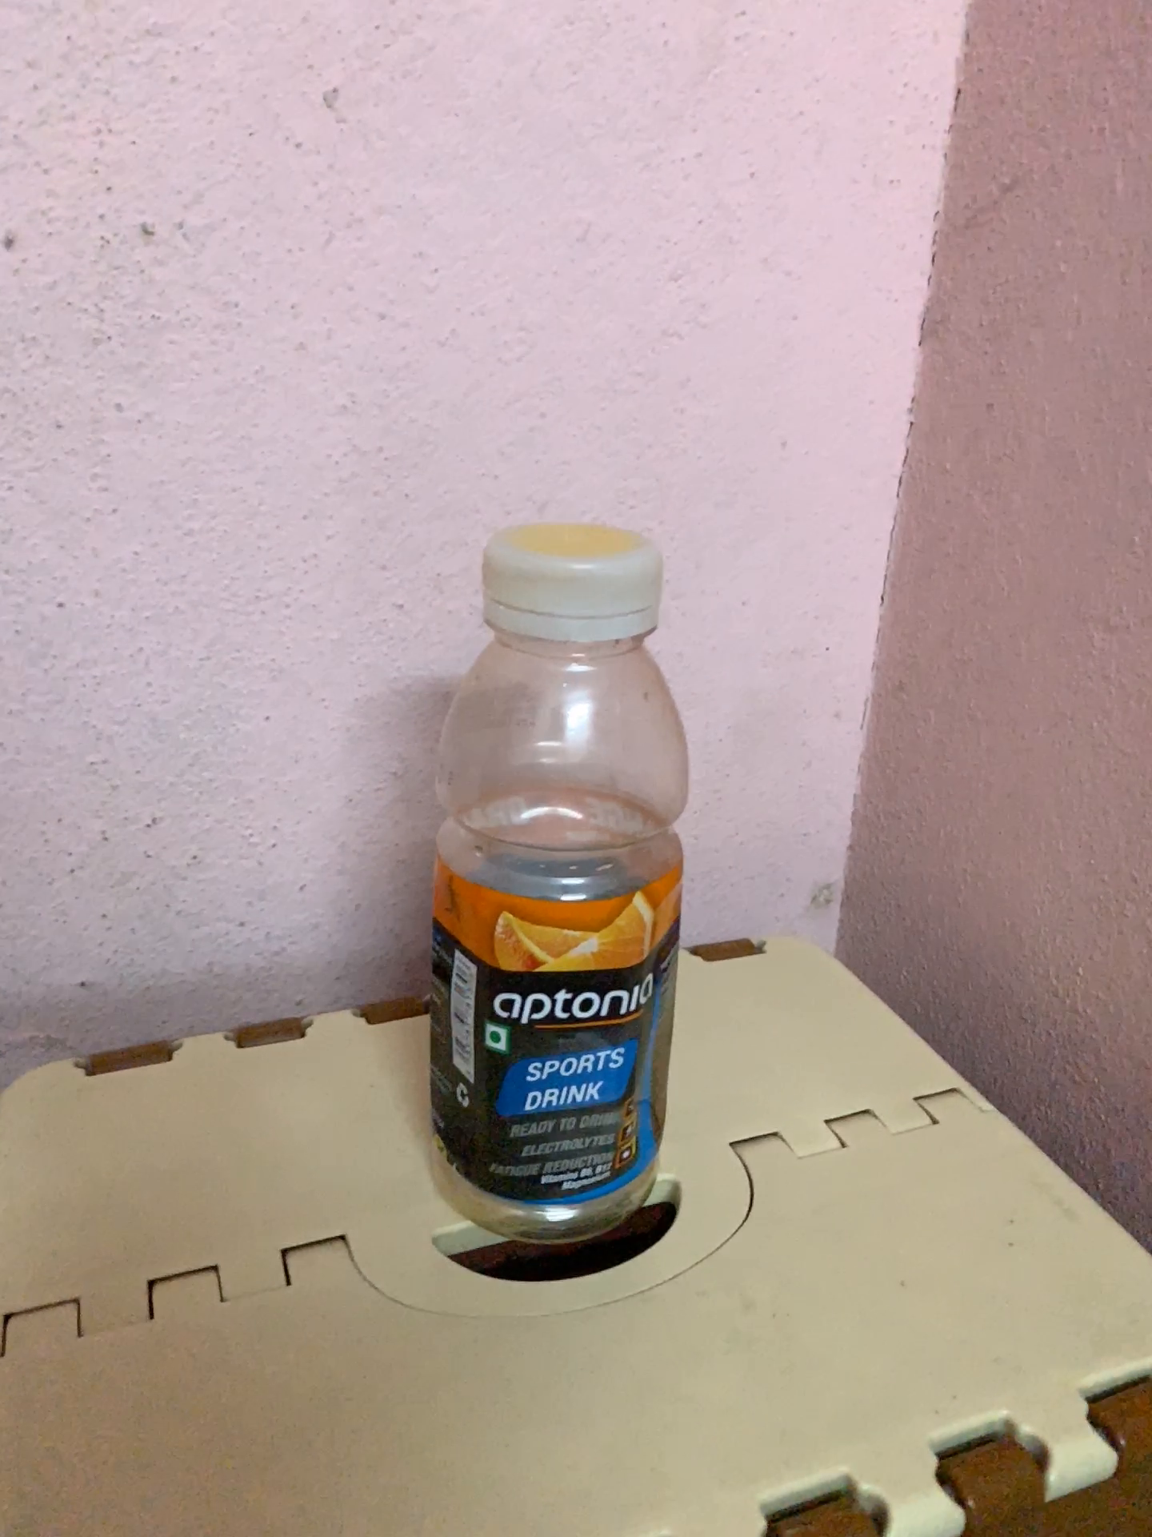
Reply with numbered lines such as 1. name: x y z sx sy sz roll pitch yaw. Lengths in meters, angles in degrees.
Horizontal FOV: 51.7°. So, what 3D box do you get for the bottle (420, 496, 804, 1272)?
1. bottle: 0.002 0.028 0.299 0.070 0.179 0.060 -5 23 -17
